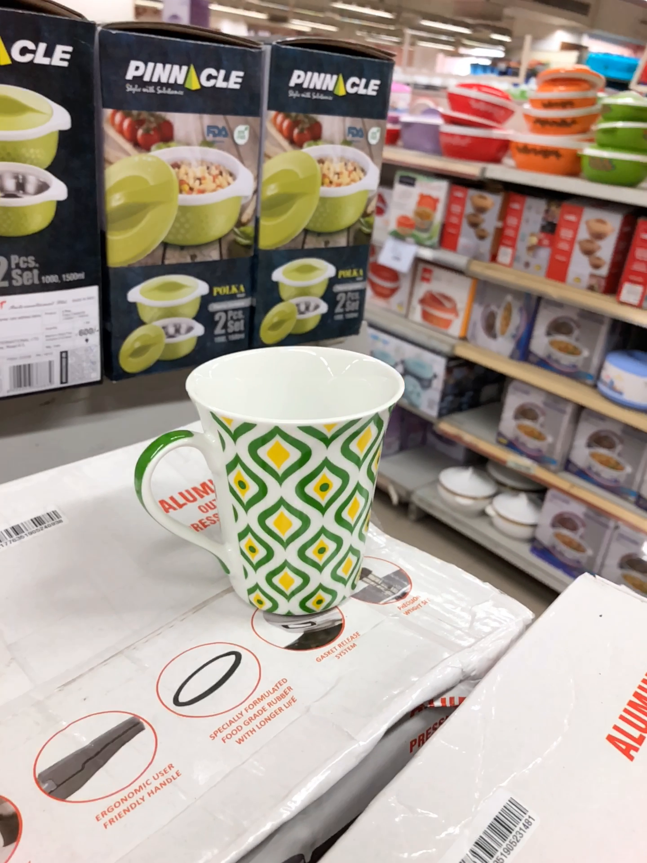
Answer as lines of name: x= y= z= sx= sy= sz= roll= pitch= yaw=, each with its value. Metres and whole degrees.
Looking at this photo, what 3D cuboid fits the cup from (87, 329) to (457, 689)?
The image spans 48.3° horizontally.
cup: x=-0.019 y=0.019 z=0.294 sx=0.090 sy=0.090 sz=0.111 roll=22 pitch=29 yaw=40
